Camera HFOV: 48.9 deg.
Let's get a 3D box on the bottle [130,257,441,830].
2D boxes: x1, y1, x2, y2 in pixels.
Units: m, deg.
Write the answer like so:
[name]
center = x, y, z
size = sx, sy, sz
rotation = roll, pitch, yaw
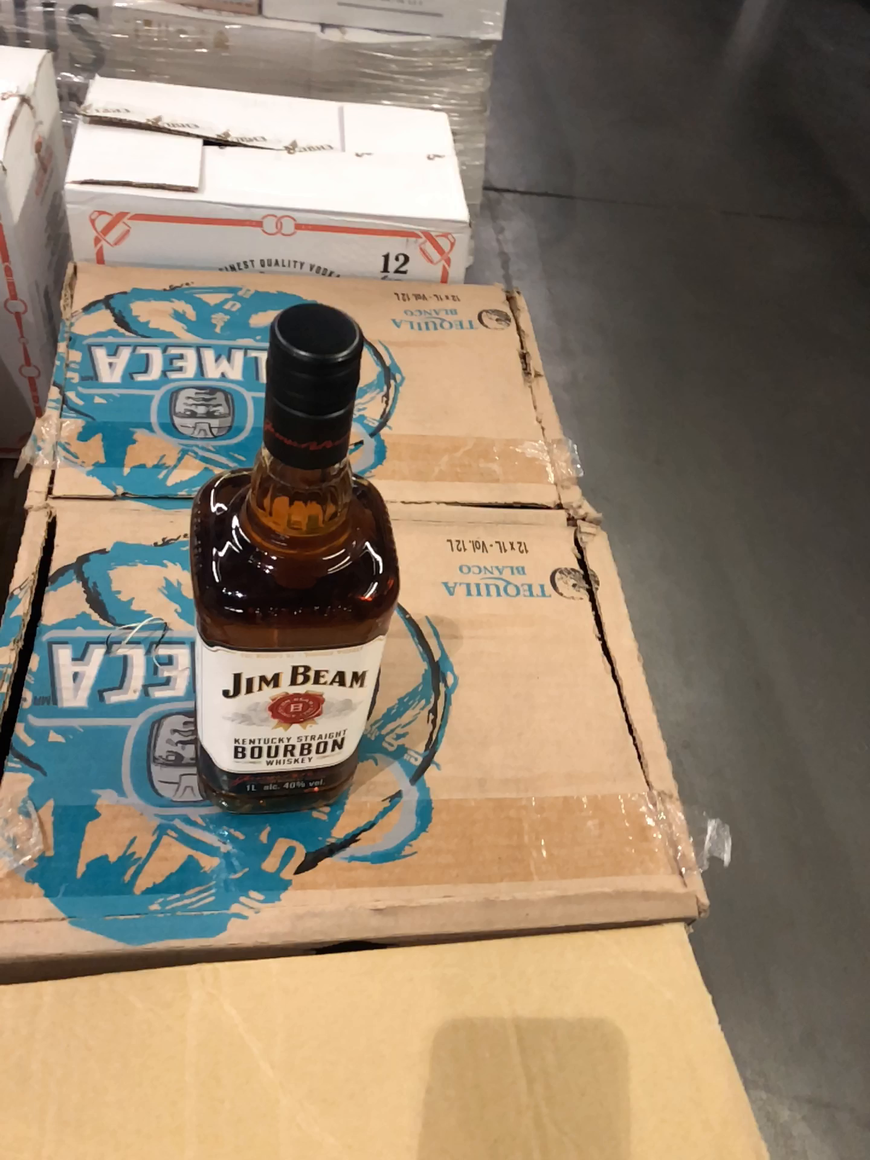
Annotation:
[bottle]
center = -0.069, 0.005, 0.404
size = 0.090, 0.258, 0.087
rotation = 6, 50, -7
